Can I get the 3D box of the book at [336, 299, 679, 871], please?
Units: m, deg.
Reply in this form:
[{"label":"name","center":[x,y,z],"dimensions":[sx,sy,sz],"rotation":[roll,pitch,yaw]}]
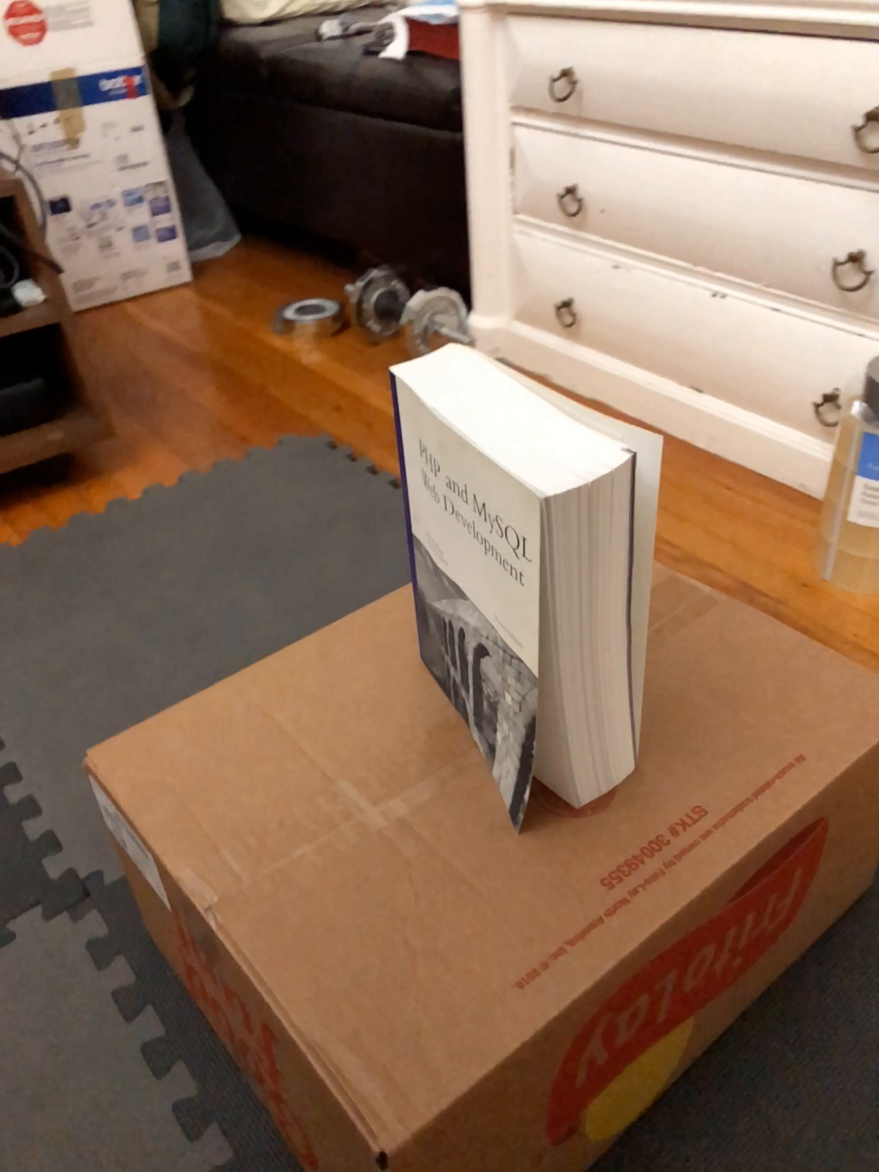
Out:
[{"label":"book","center":[0.037,-0.005,0.573],"dimensions":[0.090,0.258,0.201],"rotation":[-20,38,-17]}]
